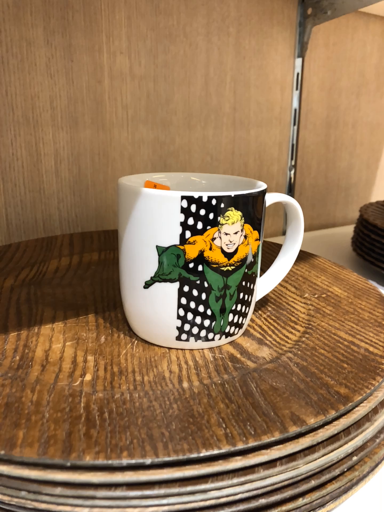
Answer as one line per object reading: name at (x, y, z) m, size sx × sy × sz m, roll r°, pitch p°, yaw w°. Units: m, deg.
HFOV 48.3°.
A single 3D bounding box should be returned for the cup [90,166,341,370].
cup at (0.010, -0.005, 0.266) m, size 0.120 × 0.090 × 0.090 m, roll -8°, pitch 18°, yaw -26°
